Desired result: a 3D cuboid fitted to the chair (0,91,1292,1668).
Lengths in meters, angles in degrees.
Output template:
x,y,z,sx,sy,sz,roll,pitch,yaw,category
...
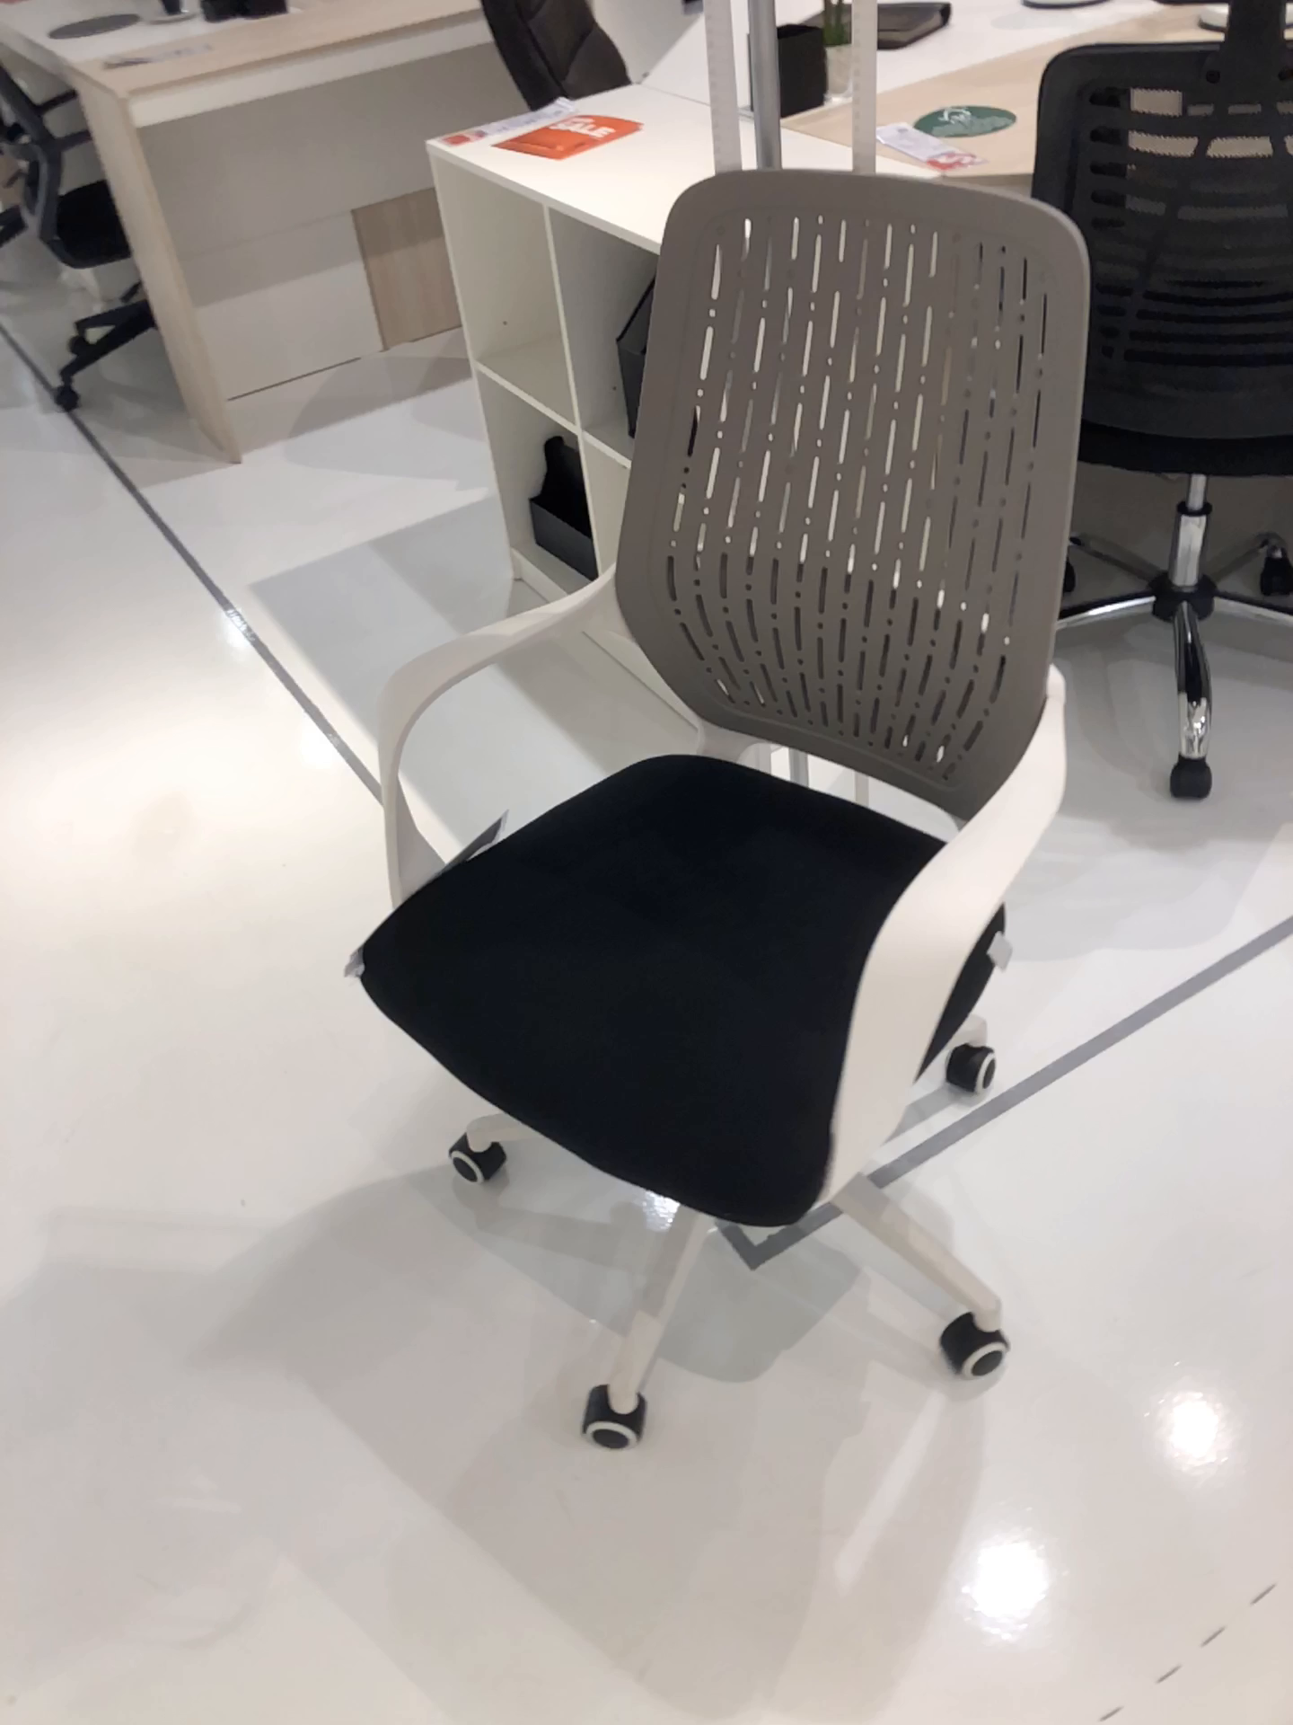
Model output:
x,y,z,sx,sy,sz,roll,pitch,yaw,category
0.043,-0.004,1.239,0.692,1.002,0.673,25,50,31,chair
